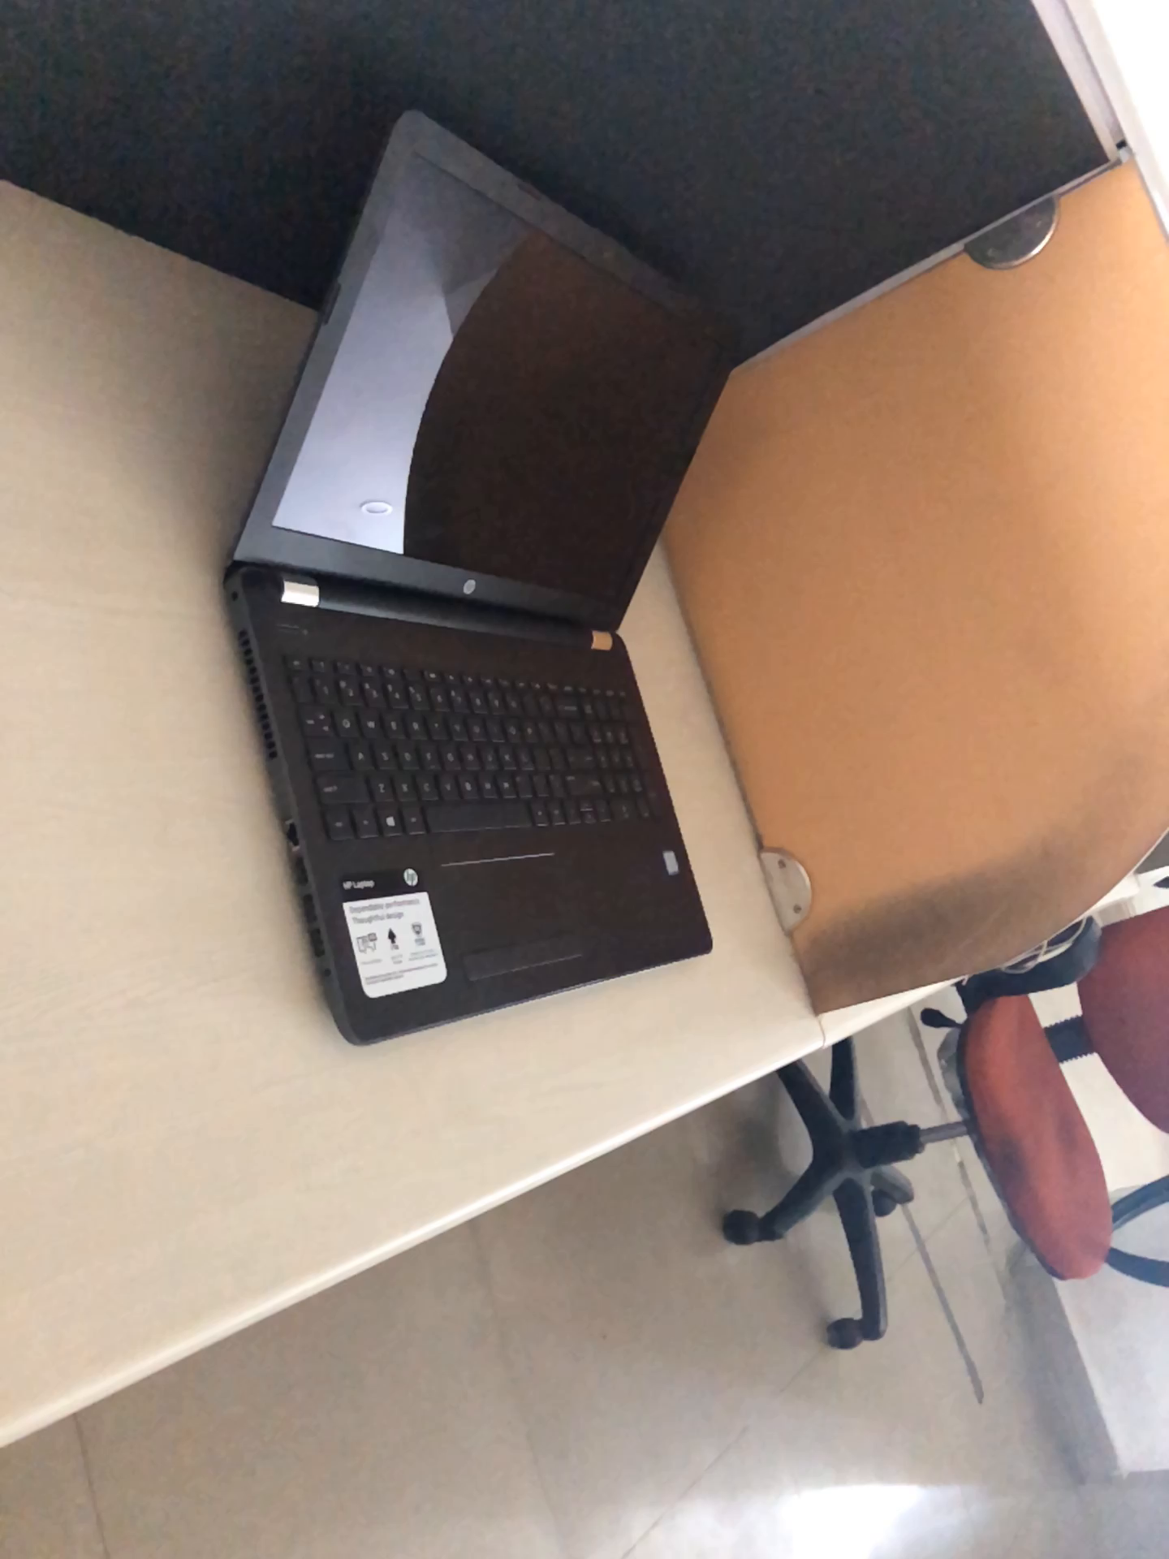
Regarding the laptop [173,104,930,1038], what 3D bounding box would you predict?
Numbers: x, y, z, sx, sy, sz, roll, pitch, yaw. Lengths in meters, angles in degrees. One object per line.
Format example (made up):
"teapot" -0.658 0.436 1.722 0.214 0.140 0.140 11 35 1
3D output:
"laptop" 0.004 -0.099 0.773 0.379 0.173 0.408 -1 72 -58
